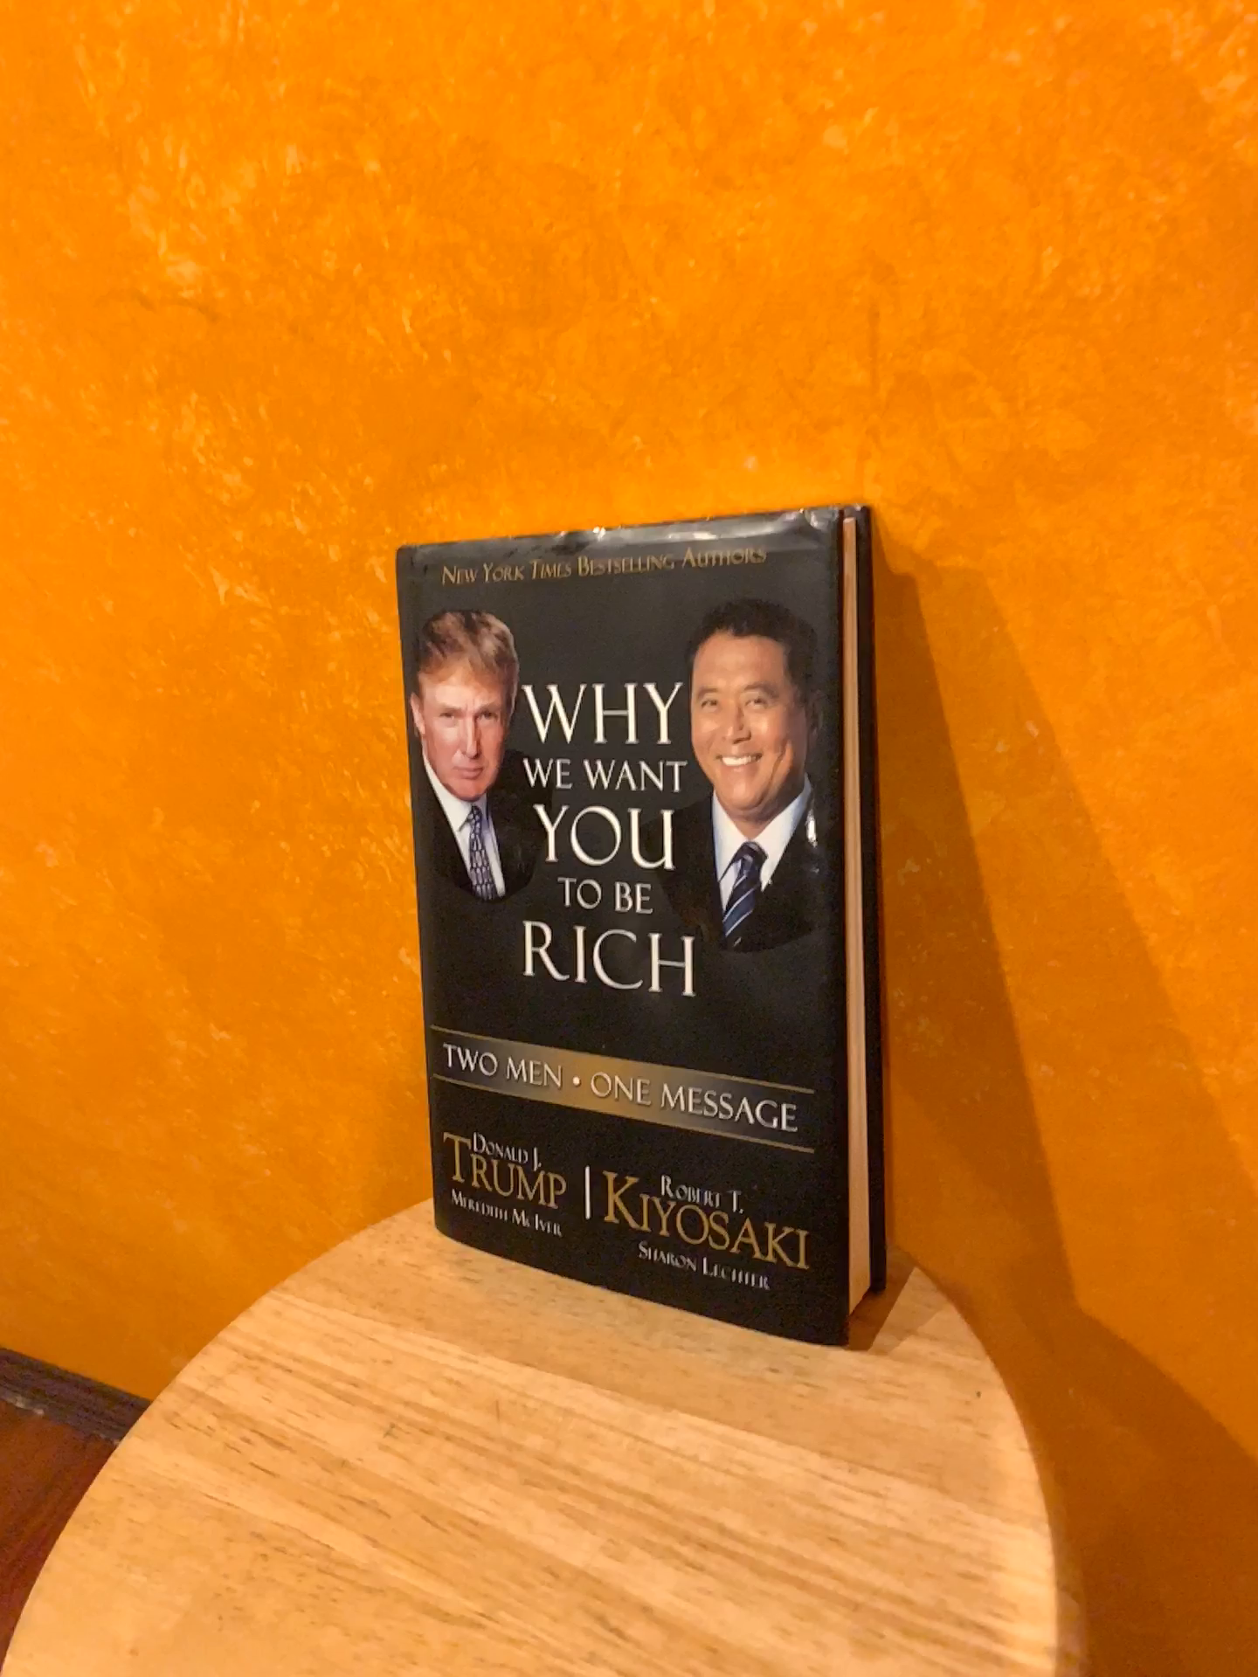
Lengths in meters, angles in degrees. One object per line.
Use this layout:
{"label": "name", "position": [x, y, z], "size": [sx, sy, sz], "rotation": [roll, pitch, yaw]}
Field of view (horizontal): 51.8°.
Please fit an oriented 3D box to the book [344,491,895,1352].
{"label": "book", "position": [-0.005, 0.017, 0.370], "size": [0.151, 0.210, 0.044], "rotation": [4, 10, 34]}
